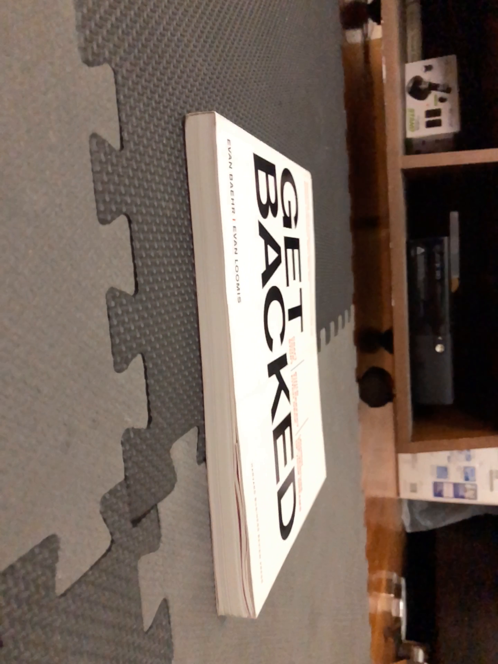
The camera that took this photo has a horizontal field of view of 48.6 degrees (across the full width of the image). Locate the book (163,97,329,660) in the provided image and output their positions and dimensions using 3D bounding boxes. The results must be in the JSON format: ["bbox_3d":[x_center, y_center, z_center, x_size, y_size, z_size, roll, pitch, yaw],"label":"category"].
[{"bbox_3d":[0.015,0.015,0.352,0.211,0.020,0.260,-21,108,-69],"label":"book"}]
